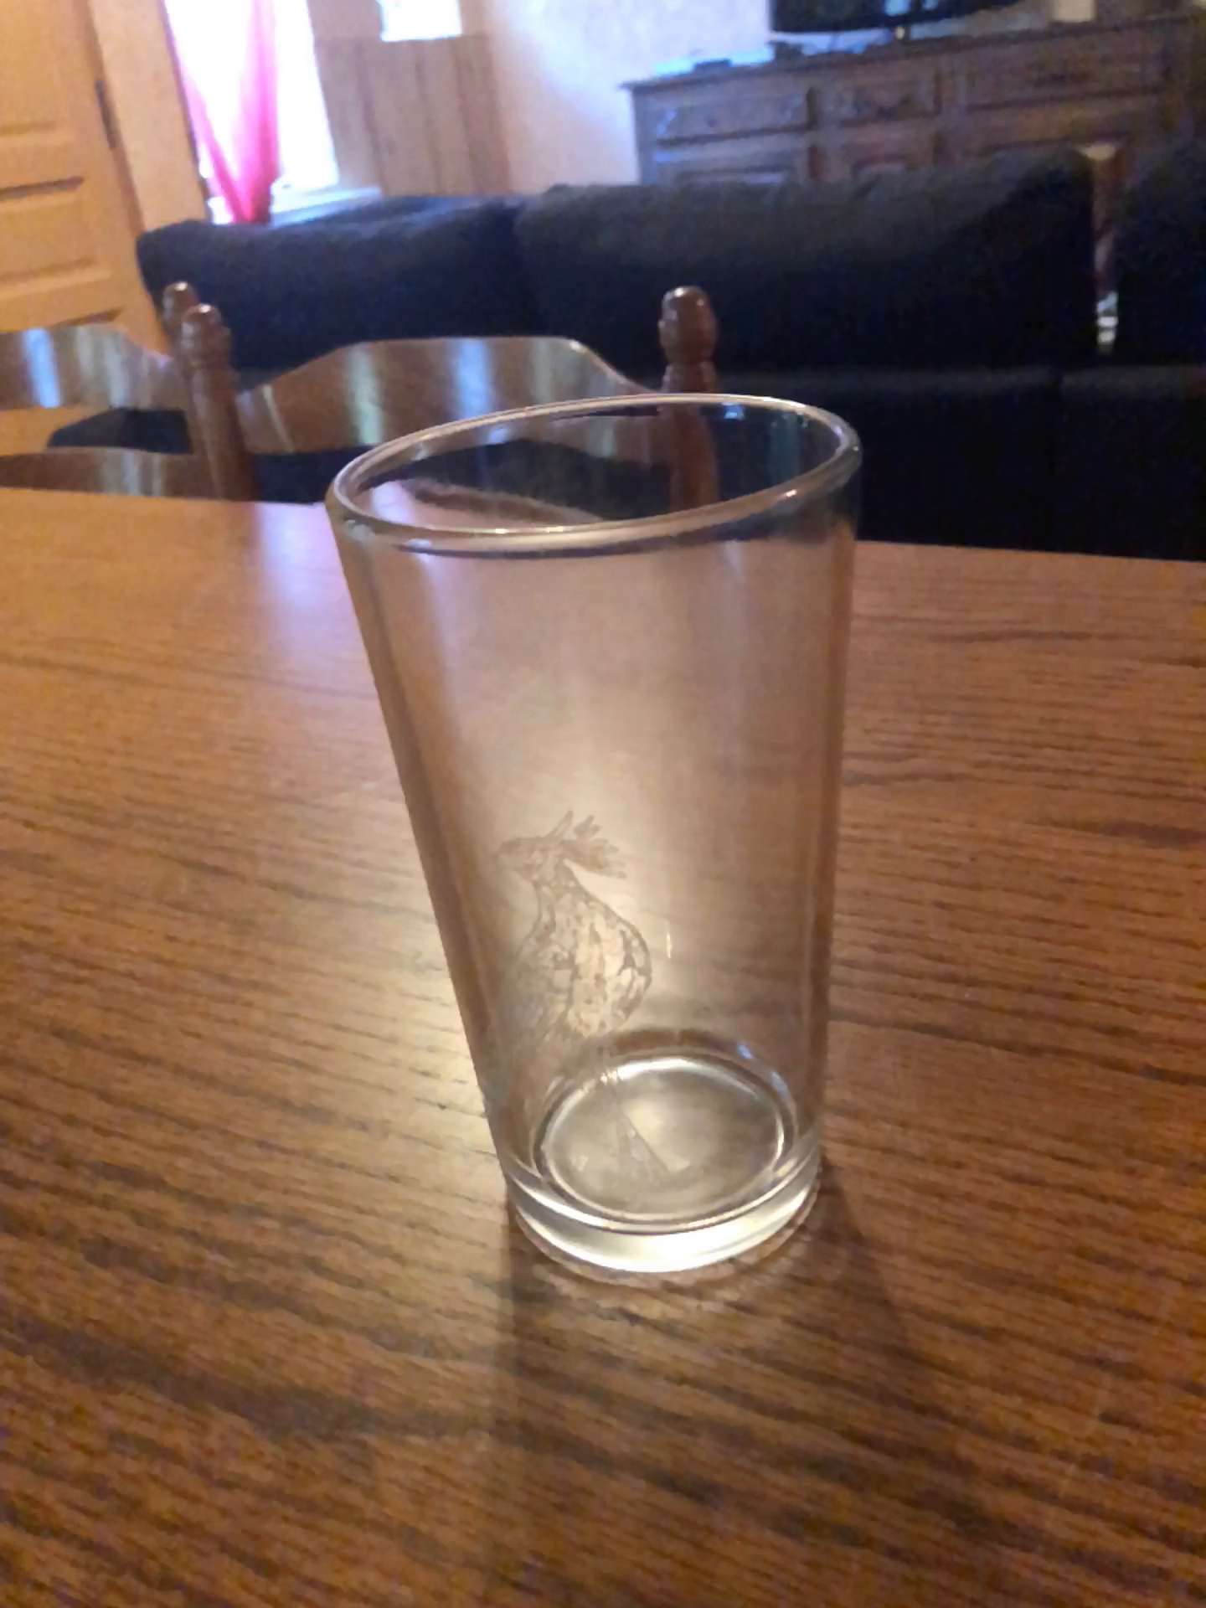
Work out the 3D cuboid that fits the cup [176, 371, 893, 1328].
[{"bbox_3d":[0.002,0.004,0.251,0.091,0.144,0.090,-5,27,3],"label":"cup"}]
